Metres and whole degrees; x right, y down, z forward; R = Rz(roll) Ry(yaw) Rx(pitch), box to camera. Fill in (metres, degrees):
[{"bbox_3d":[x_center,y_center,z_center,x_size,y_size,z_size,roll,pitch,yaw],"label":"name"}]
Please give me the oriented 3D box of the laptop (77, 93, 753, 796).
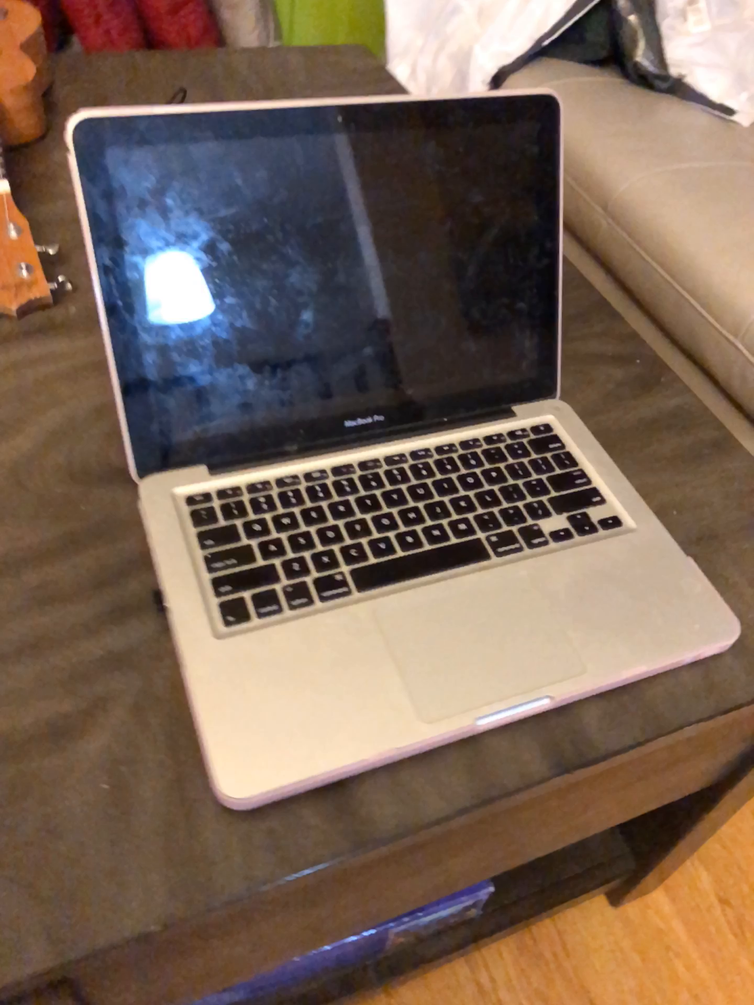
[{"bbox_3d":[0.025,-0.067,0.483,0.312,0.185,0.323,-13,51,-18],"label":"laptop"}]
